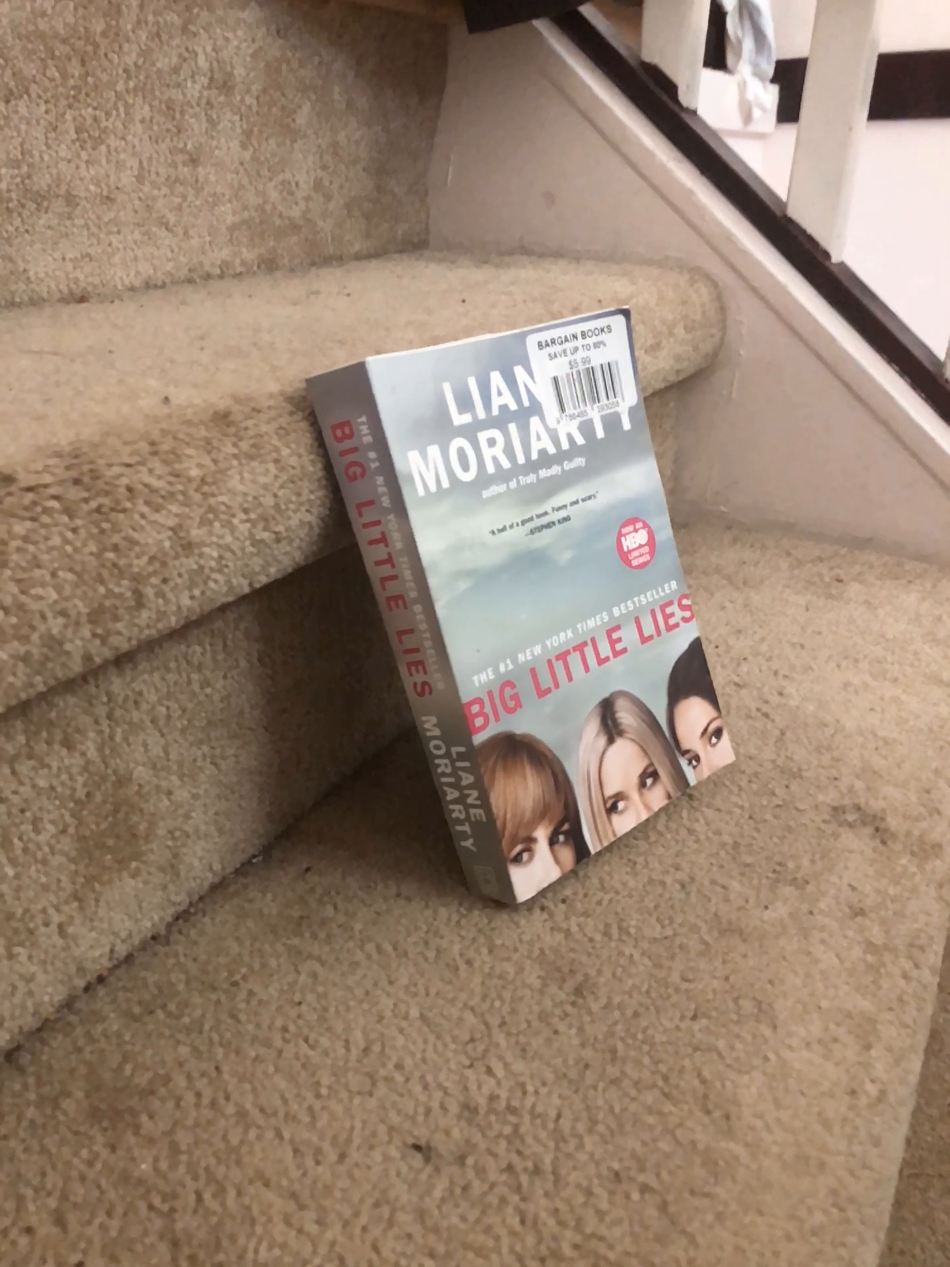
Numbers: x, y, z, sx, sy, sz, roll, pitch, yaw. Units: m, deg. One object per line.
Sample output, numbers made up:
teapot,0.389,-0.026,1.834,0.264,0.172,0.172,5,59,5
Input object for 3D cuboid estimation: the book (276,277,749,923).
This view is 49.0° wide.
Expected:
book,0.028,-0.023,0.415,0.050,0.209,0.160,-5,14,44
